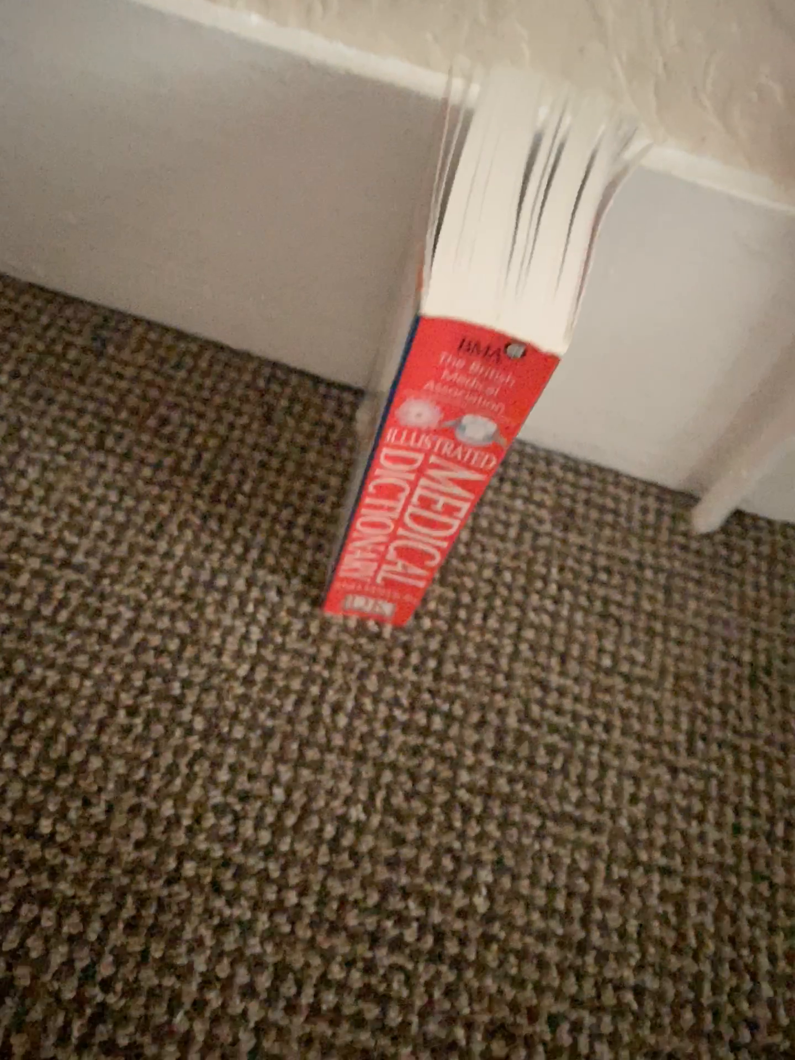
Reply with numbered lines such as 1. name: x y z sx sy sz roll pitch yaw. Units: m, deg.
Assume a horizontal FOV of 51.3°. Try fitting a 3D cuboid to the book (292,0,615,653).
1. book: 0.019 -0.080 0.358 0.060 0.199 0.191 16 55 -3
